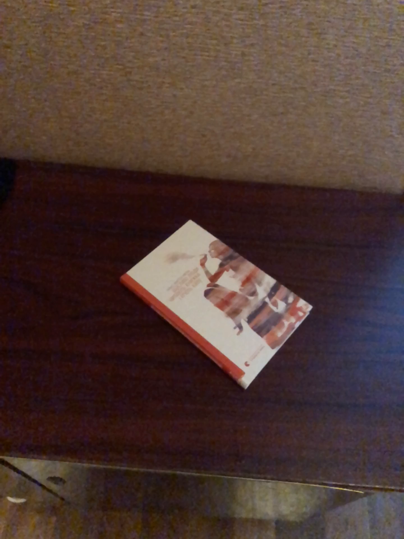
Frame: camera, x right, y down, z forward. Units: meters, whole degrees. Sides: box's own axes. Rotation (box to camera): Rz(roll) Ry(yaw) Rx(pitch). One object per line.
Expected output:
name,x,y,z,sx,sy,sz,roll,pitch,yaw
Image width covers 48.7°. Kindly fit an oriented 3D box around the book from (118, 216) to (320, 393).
book,0.021,0.034,0.603,0.228,0.020,0.151,37,60,20
